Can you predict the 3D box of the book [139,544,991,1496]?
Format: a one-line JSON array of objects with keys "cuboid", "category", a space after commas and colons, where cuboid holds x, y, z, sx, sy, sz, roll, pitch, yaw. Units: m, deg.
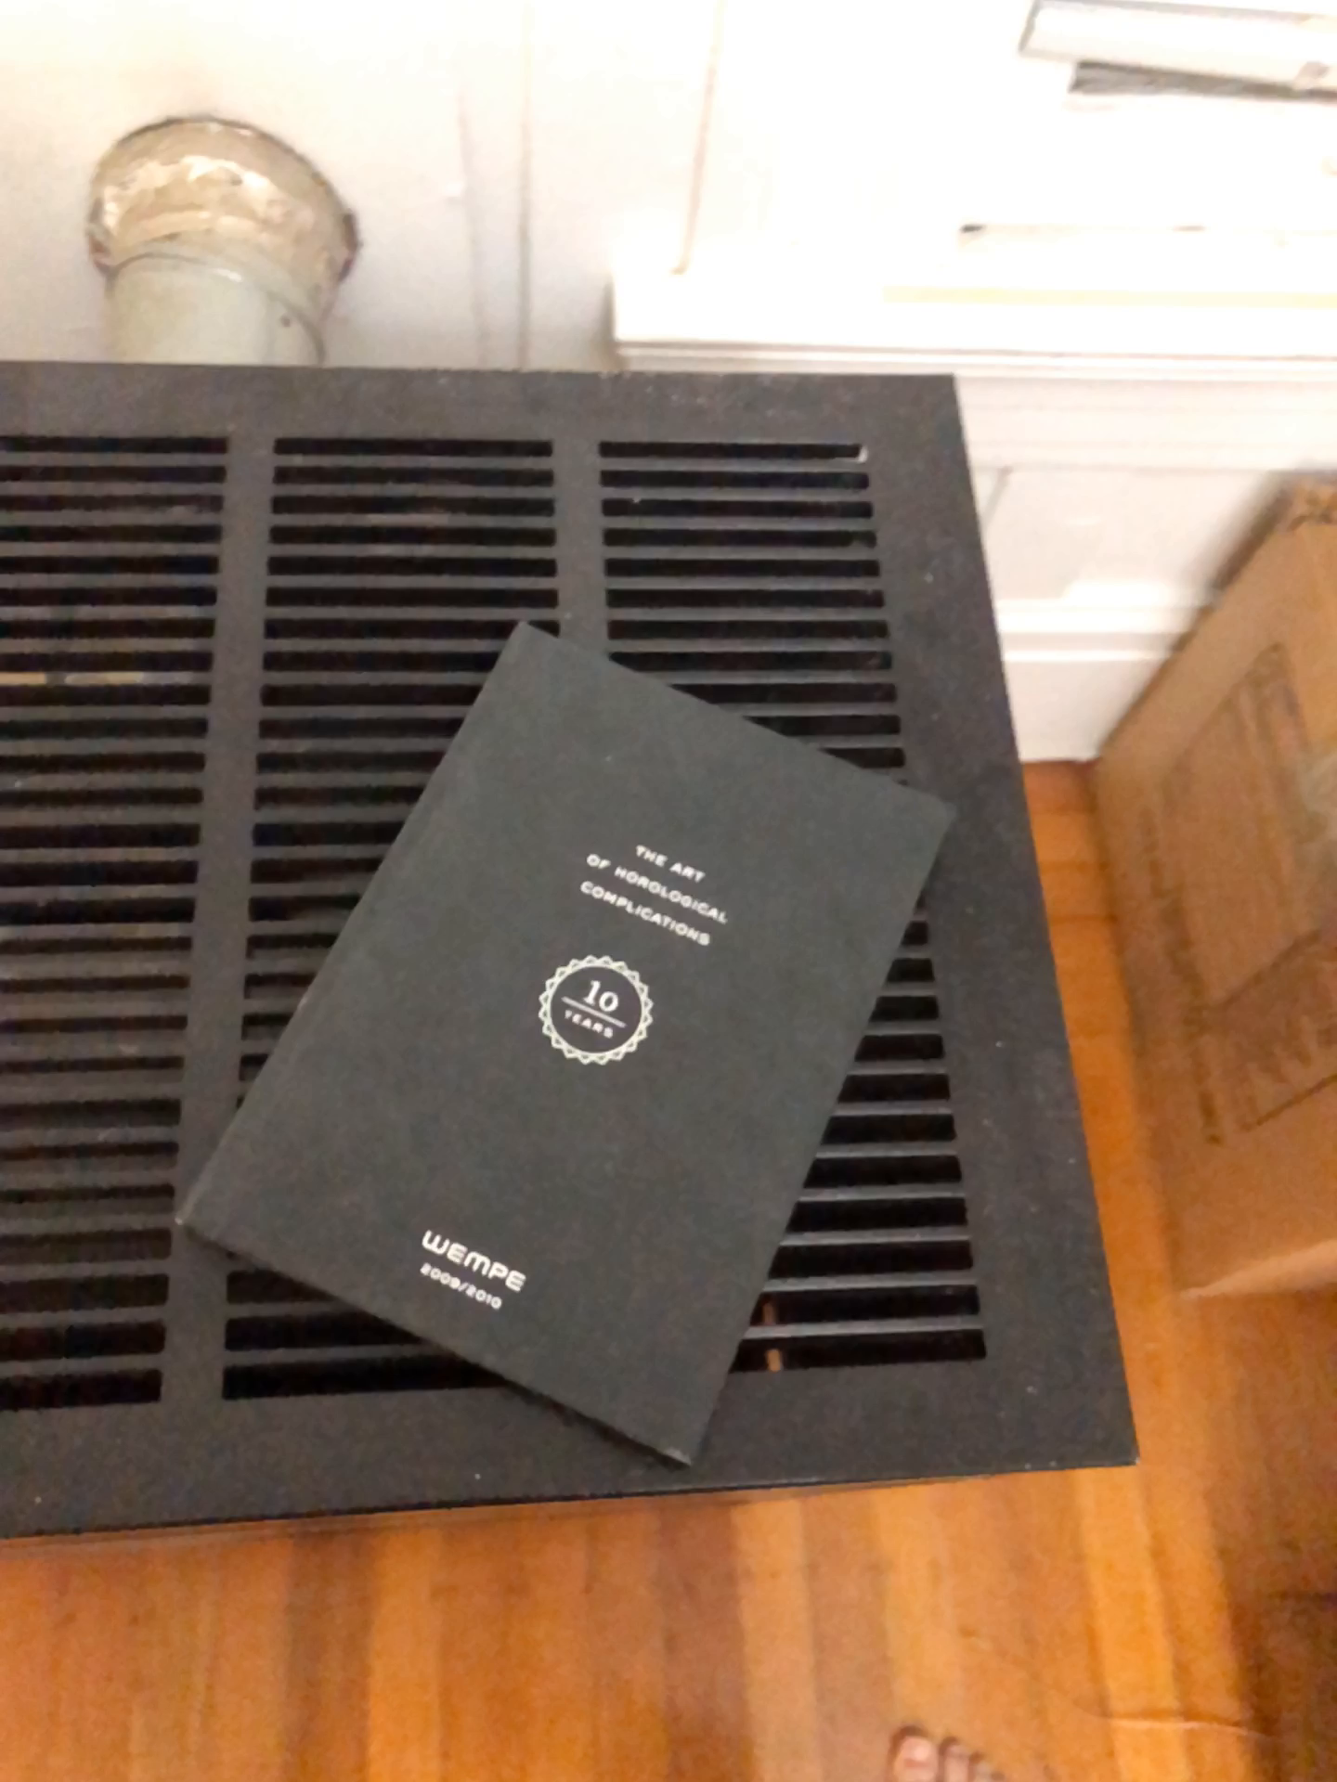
[{"cuboid": [-0.019, 0.023, 0.446, 0.160, 0.020, 0.250, 23, 66, 5], "category": "book"}]
